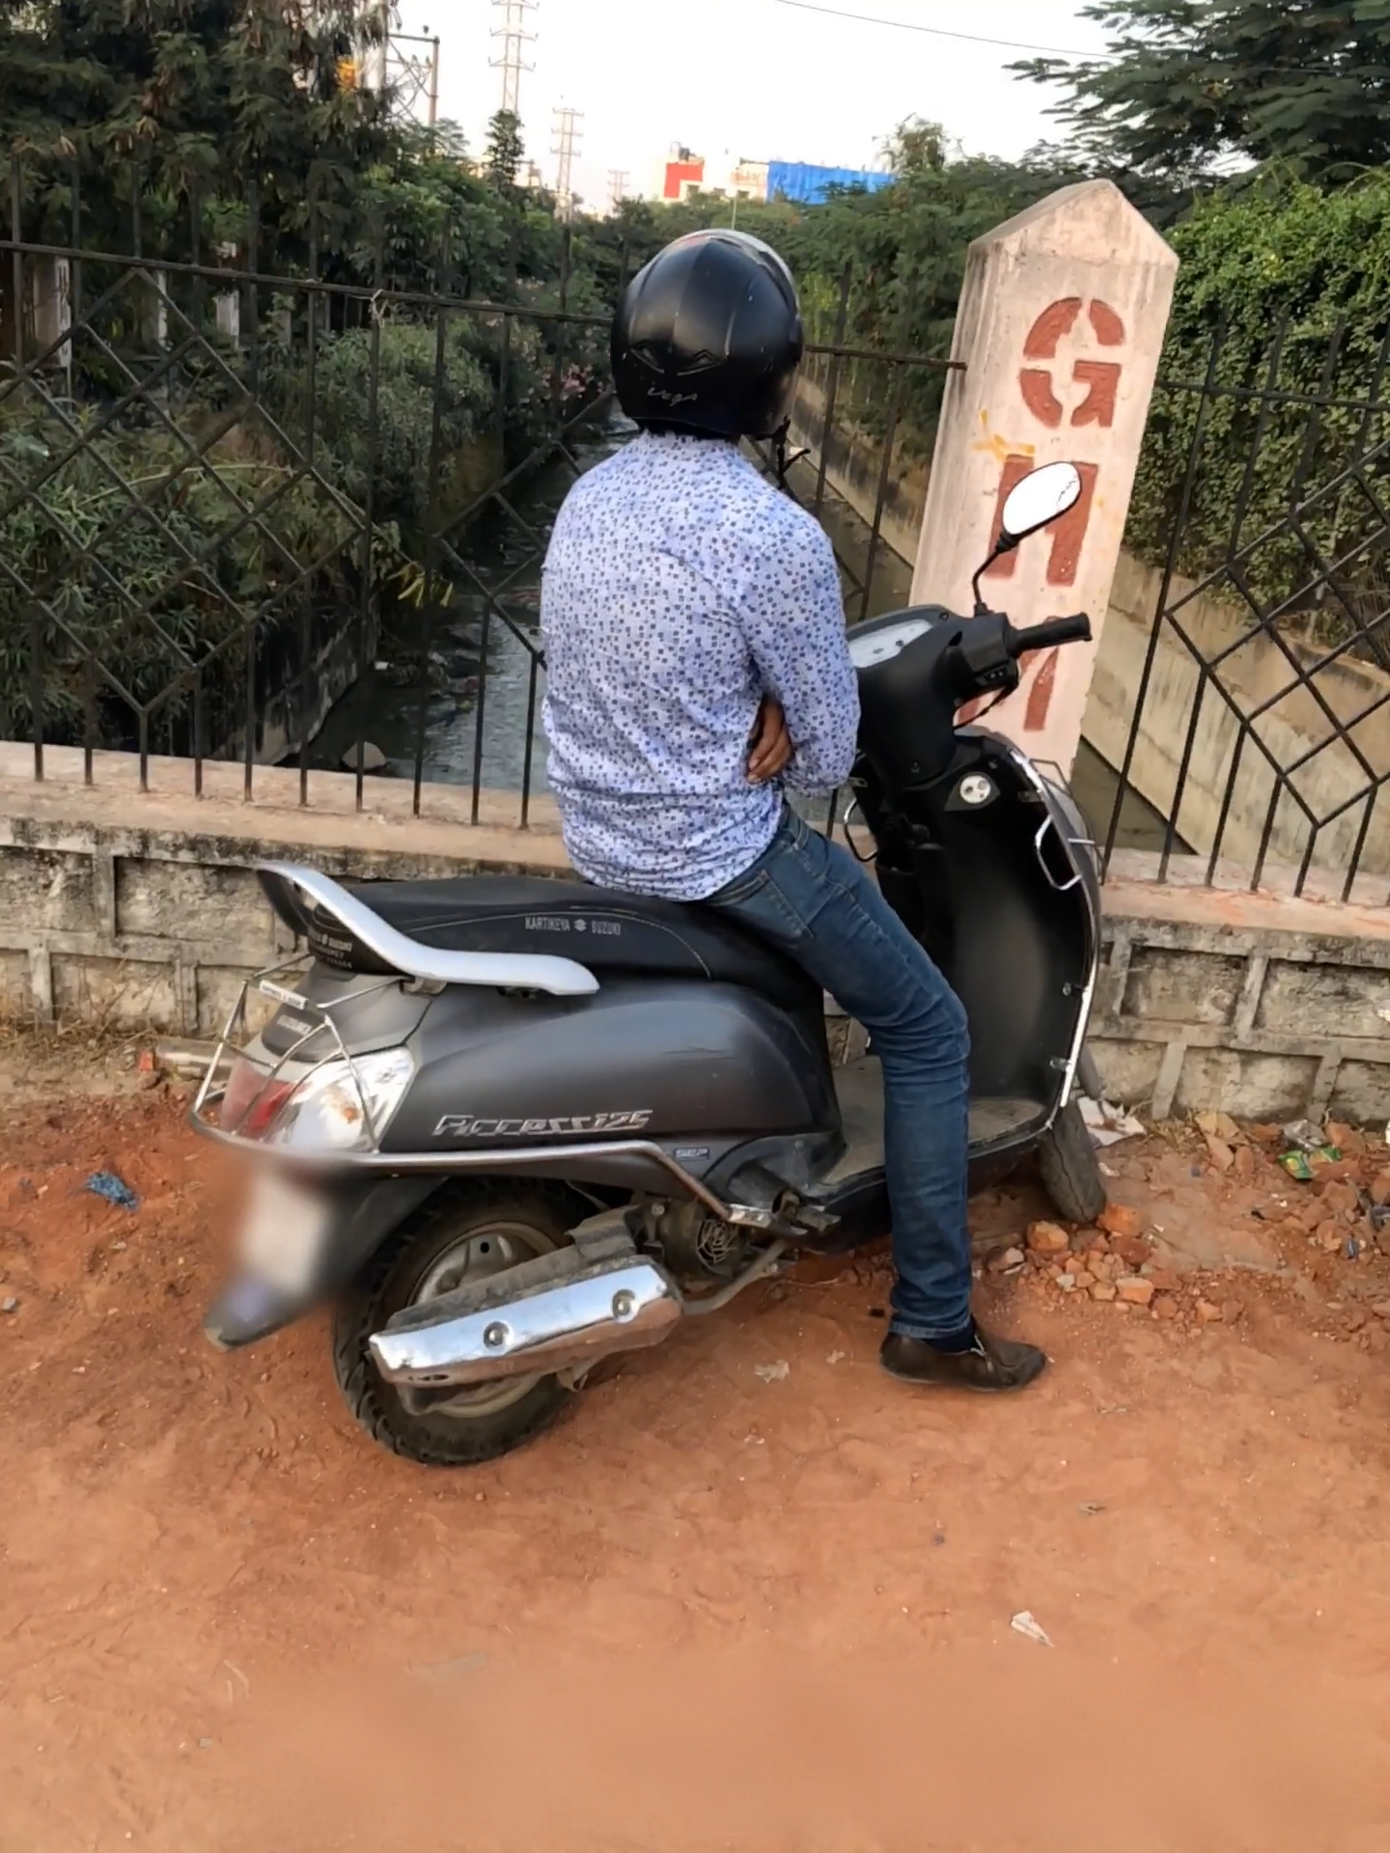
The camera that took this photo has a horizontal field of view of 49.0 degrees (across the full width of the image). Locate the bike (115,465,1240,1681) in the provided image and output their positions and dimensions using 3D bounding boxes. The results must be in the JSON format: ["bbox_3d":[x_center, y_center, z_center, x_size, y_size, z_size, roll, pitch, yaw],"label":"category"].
[{"bbox_3d":[0.028,0.009,2.445,0.798,1.217,1.583,22,29,35],"label":"bike"}]
